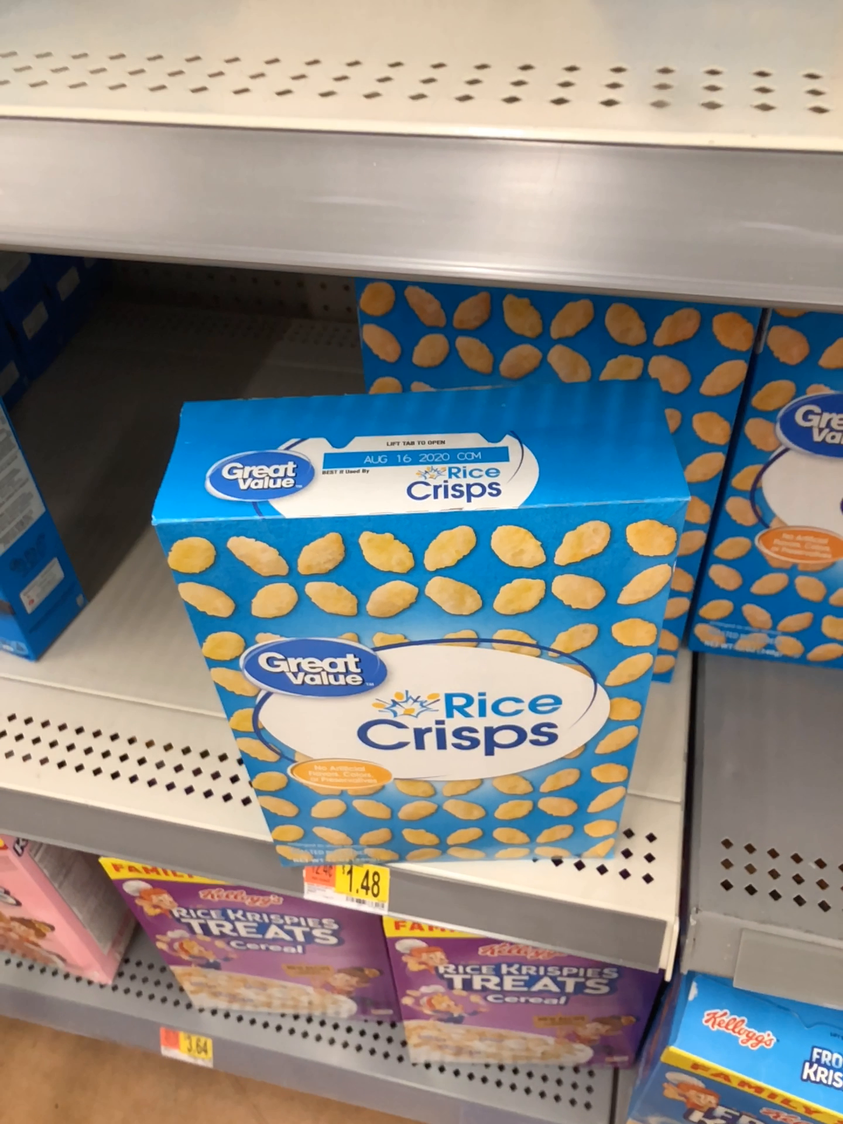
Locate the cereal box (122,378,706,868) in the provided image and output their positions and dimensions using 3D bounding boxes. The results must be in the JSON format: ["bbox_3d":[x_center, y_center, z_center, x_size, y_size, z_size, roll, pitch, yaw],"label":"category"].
[{"bbox_3d":[0.005,0.050,0.443,0.200,0.270,0.070,-3,47,3],"label":"cereal box"}]
